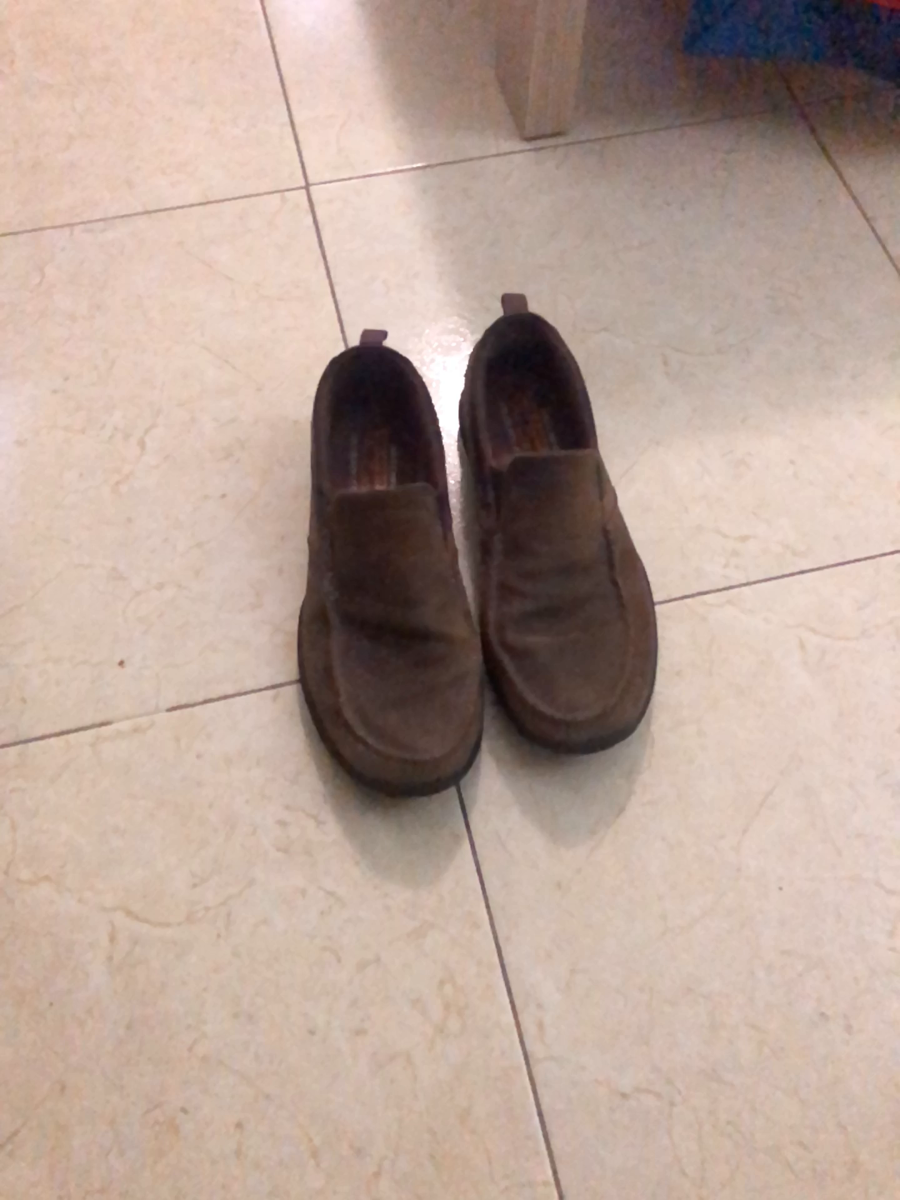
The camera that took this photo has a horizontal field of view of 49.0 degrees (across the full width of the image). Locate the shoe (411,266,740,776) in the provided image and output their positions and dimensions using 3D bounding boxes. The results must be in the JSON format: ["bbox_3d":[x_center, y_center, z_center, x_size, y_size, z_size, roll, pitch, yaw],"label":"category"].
[{"bbox_3d":[0.063,-0.058,0.625,0.130,0.100,0.301,-8,63,-4],"label":"shoe"}]

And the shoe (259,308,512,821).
[{"bbox_3d":[-0.046,-0.030,0.619,0.120,0.100,0.301,-6,63,-3],"label":"shoe"}]
